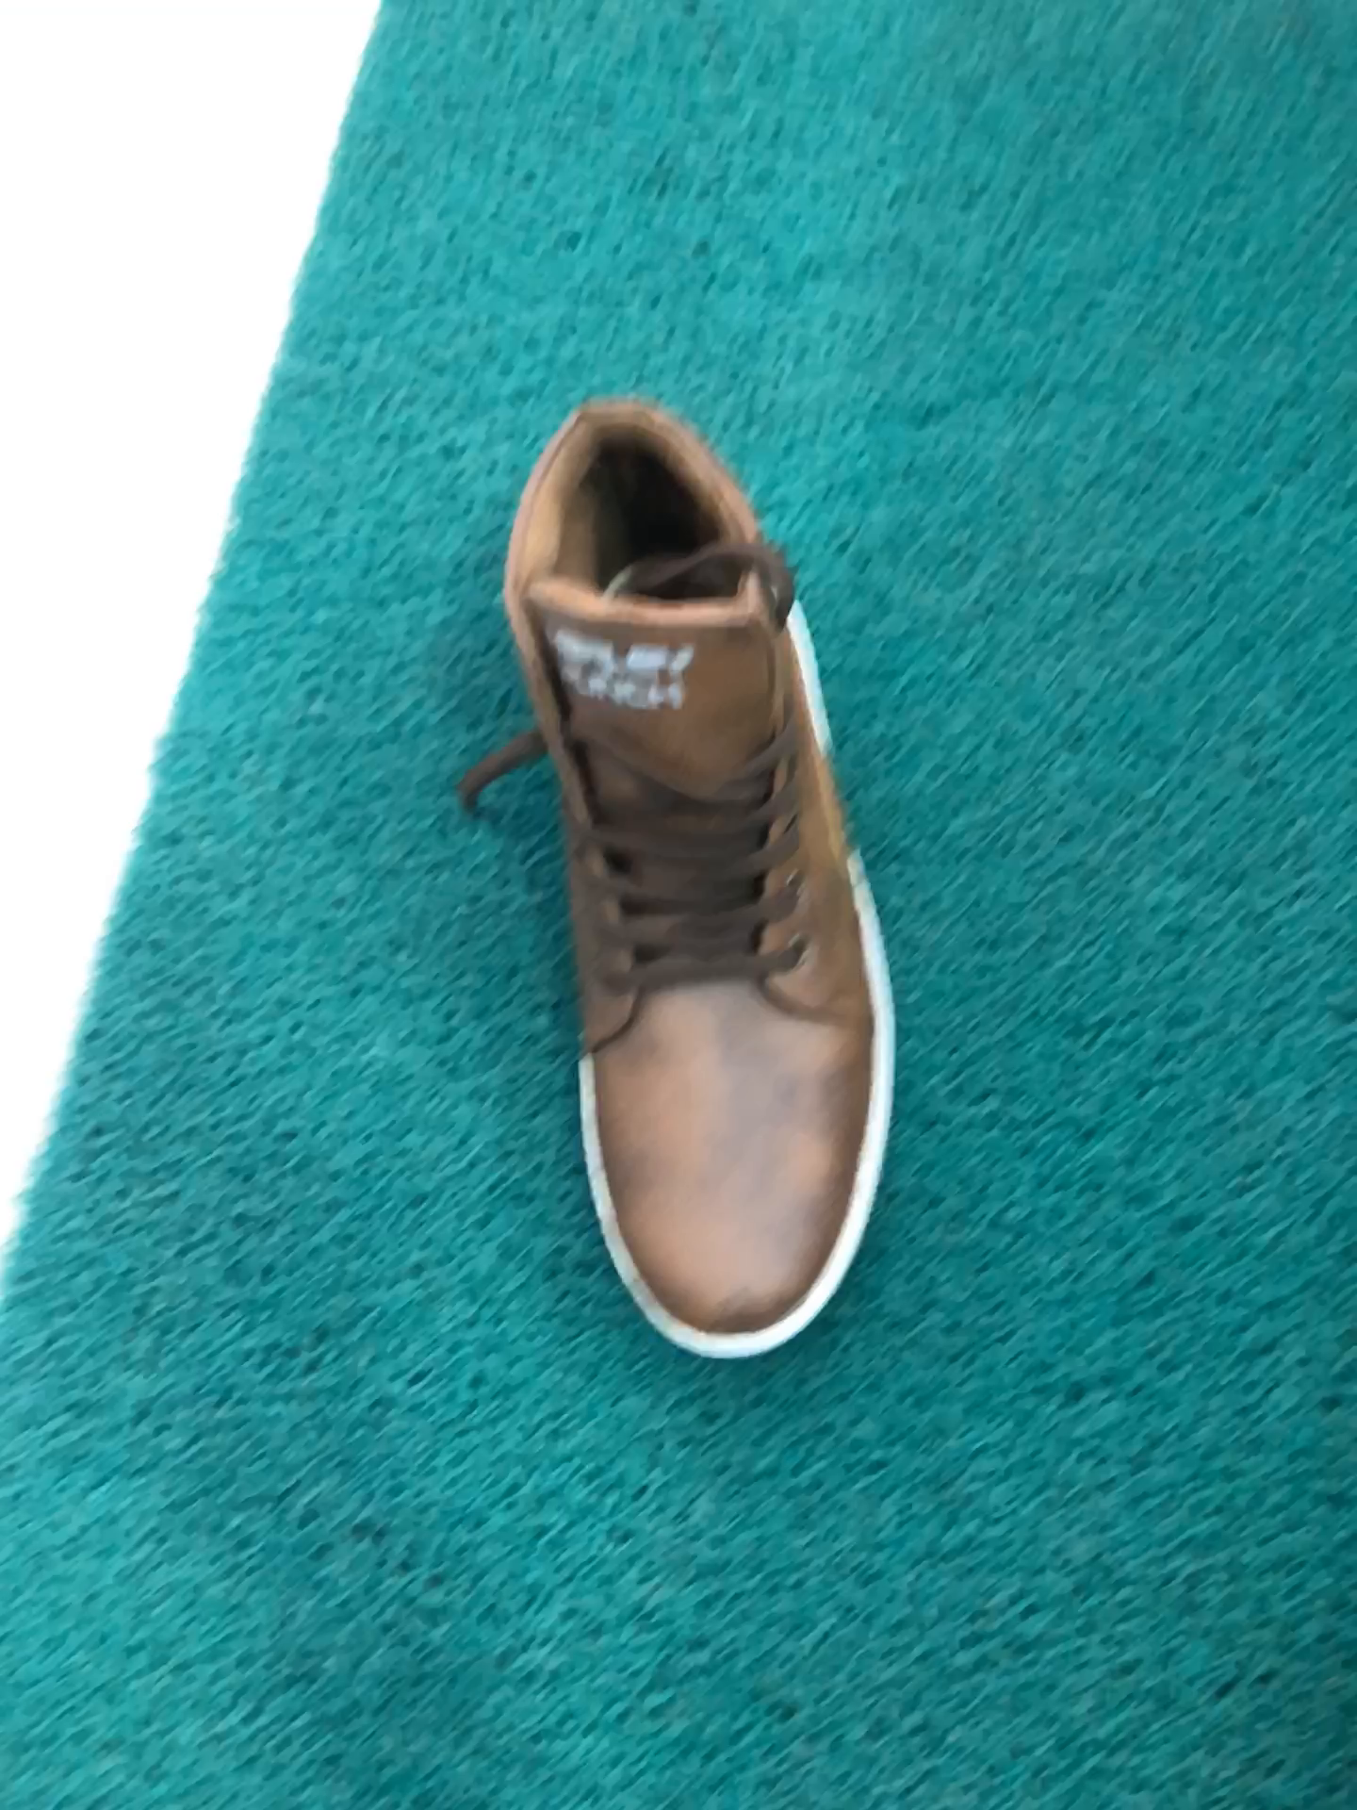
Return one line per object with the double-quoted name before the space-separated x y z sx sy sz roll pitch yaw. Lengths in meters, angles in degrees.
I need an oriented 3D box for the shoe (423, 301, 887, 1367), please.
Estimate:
"shoe" -0.001 -0.004 0.465 0.090 0.190 0.270 -8 71 6
